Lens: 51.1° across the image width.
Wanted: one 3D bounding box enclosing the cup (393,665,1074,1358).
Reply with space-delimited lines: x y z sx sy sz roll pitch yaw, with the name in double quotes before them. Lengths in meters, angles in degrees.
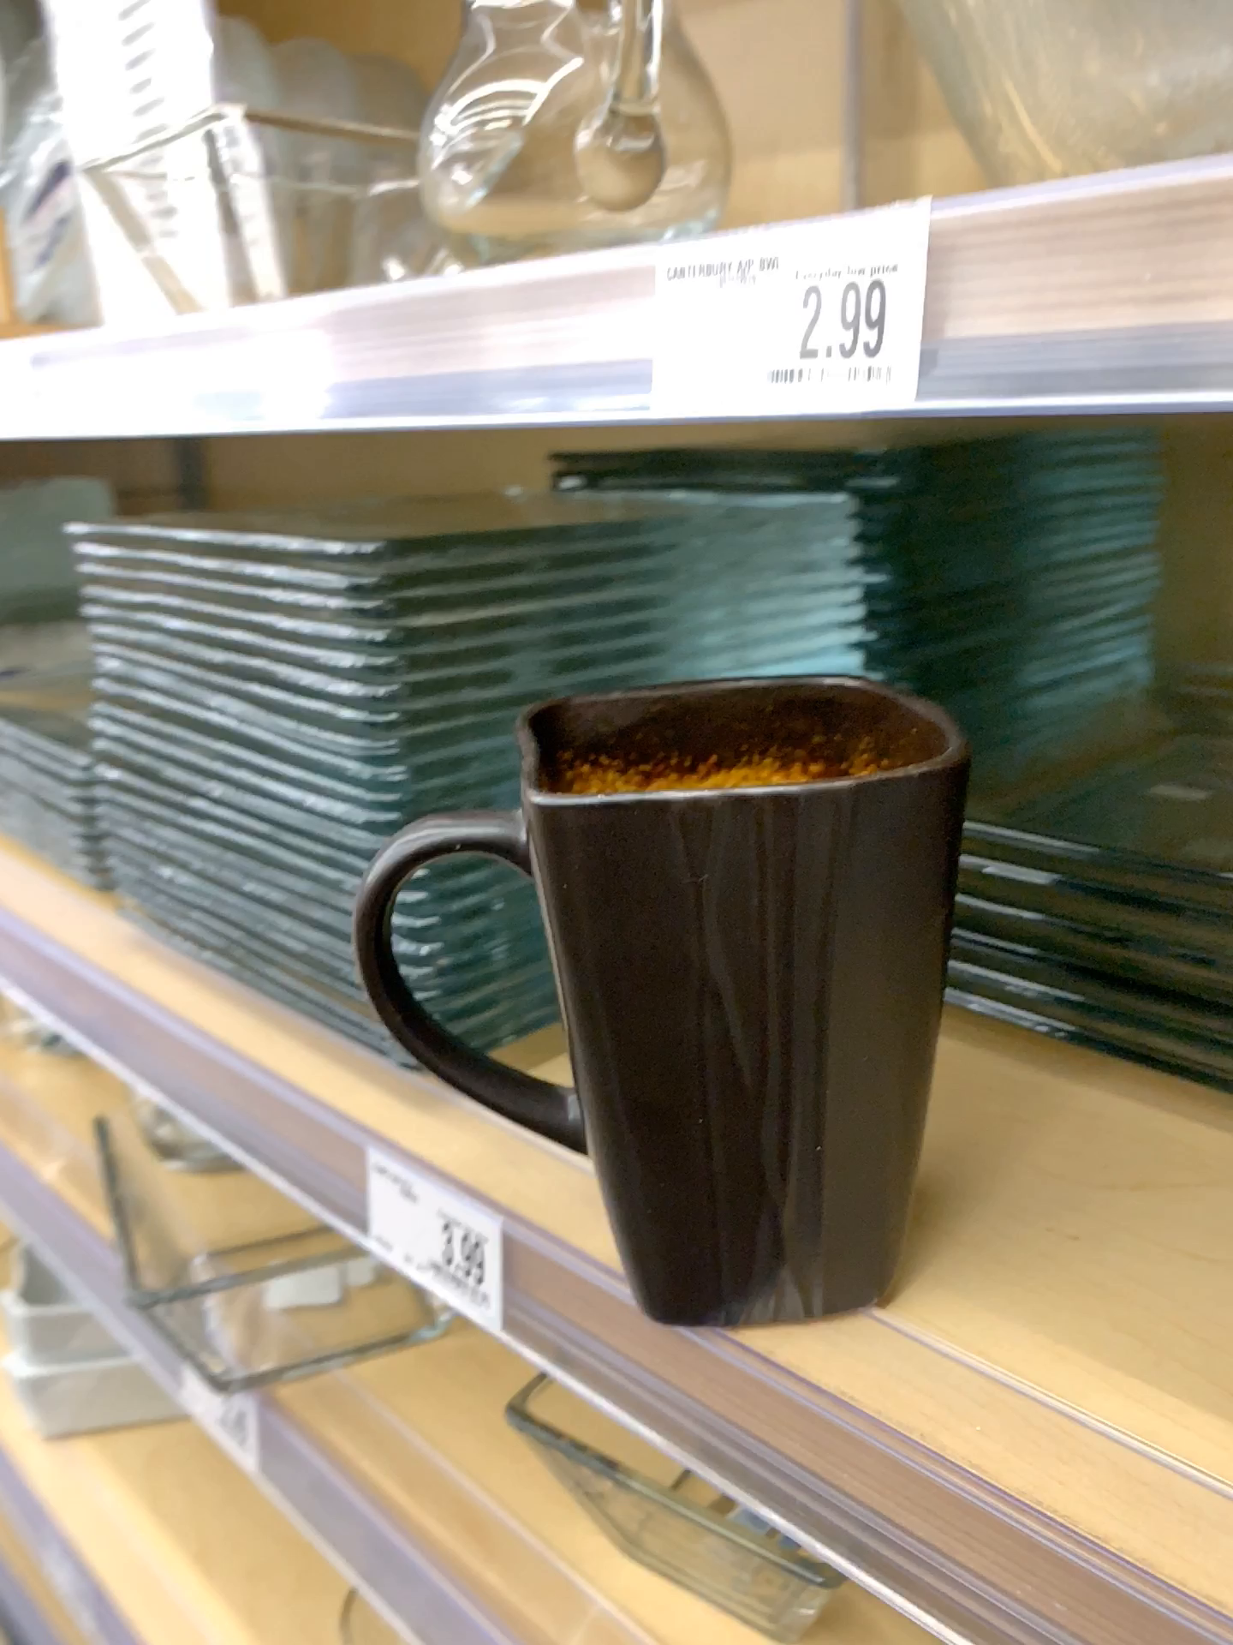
"cup" 0.015 0.028 0.255 0.107 0.099 0.088 -3 18 -7
